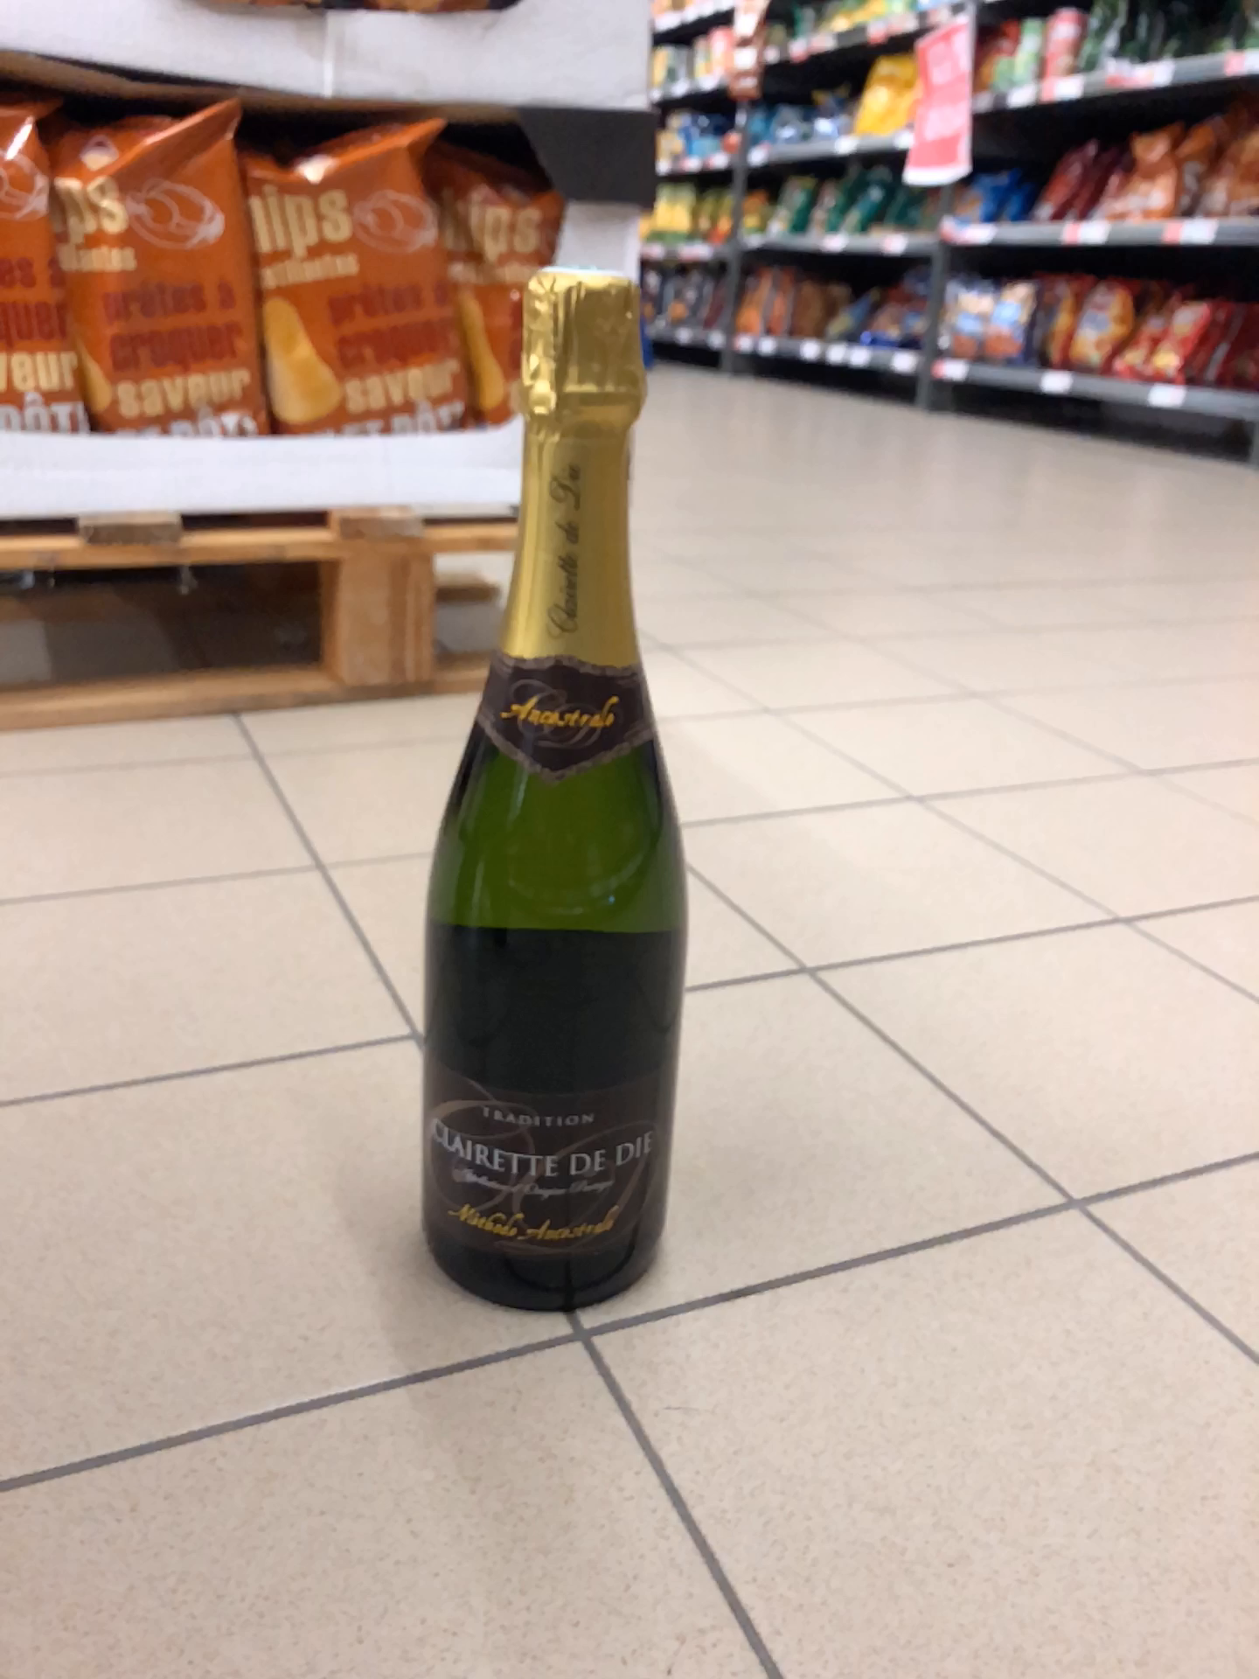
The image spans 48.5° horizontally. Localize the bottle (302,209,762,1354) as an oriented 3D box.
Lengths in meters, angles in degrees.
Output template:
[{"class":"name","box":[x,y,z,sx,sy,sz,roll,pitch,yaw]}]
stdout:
[{"class":"bottle","box":[-0.027,-0.014,0.429,0.100,0.318,0.101,2,20,-1]}]
